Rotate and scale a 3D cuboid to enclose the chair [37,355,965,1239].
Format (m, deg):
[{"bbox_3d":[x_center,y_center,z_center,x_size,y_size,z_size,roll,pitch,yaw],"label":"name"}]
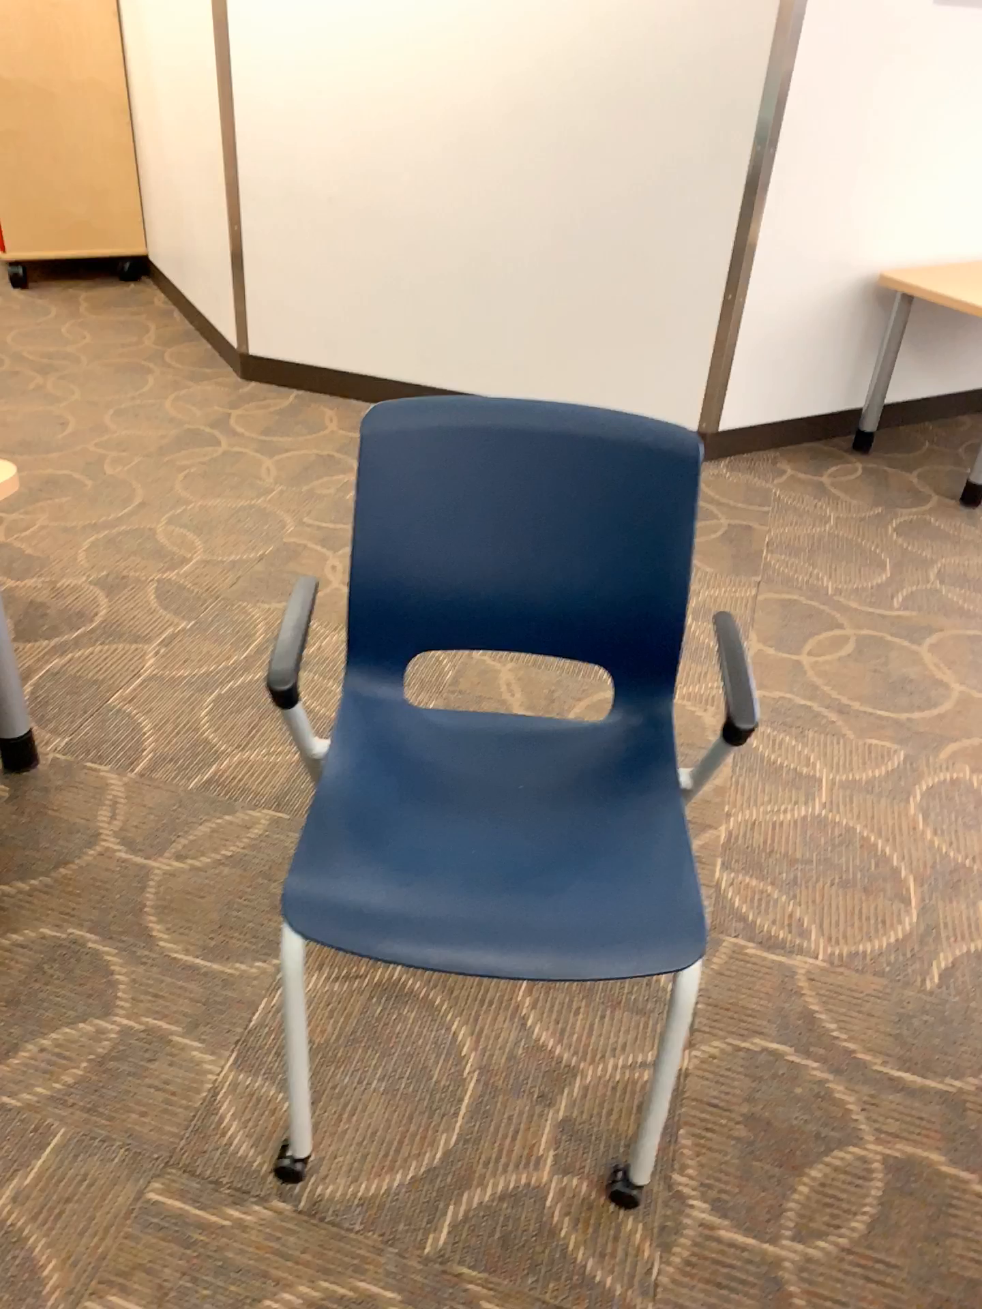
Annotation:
[{"bbox_3d":[-0.001,0.129,1.110,0.620,0.687,0.613,5,34,0],"label":"chair"}]
